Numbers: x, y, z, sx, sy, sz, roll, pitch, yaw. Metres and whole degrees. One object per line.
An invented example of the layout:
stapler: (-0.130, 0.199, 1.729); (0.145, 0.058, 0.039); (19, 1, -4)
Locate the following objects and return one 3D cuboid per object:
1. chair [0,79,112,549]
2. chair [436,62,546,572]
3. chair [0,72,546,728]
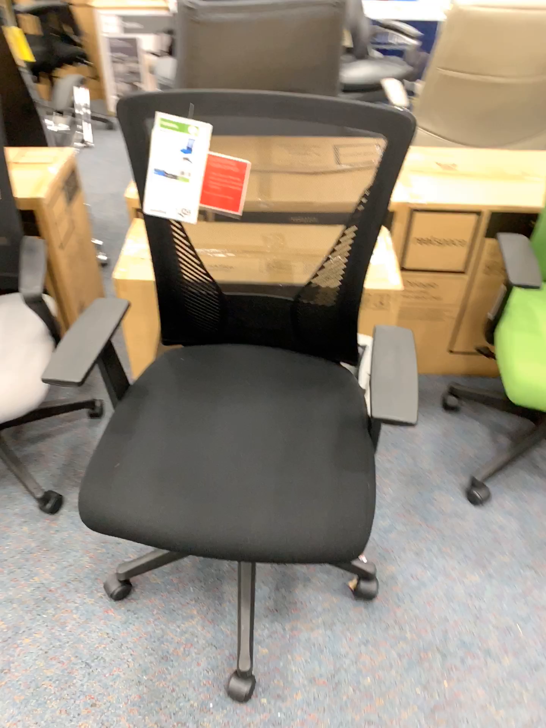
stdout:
chair: (-0.817, -0.123, 1.374); (0.621, 0.875, 0.682); (-5, 42, -7)
chair: (0.862, -0.109, 1.352); (0.671, 0.934, 0.712); (6, 42, 6)
chair: (-0.047, 0.094, 1.046); (0.681, 0.974, 0.682); (6, 42, 6)
